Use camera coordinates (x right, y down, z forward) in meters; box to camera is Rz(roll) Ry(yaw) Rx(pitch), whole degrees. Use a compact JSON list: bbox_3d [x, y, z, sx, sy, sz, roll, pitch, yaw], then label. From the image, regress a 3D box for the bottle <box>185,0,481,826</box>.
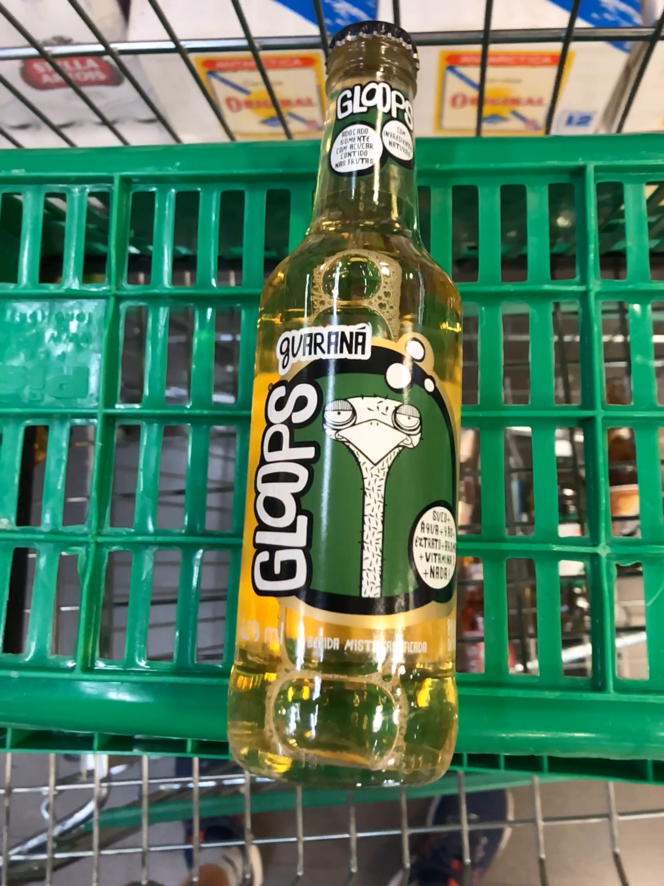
[{"bbox_3d":[0.006,-0.026,0.200,0.060,0.050,0.220,2,80,6],"label":"bottle"}]
